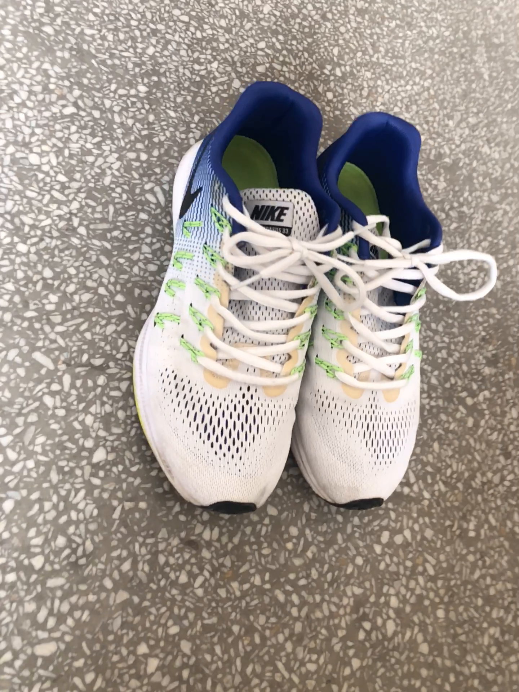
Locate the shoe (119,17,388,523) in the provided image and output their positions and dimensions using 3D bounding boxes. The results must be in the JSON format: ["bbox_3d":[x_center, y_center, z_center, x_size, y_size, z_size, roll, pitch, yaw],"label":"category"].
[{"bbox_3d":[-0.011,-0.039,0.366,0.113,0.114,0.282,8,68,-22],"label":"shoe"}]

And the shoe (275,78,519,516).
[{"bbox_3d":[0.091,-0.026,0.410,0.111,0.114,0.275,7,69,-23],"label":"shoe"}]
